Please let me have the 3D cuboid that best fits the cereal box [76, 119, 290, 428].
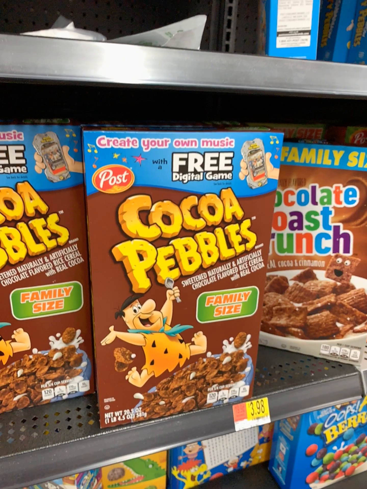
[{"bbox_3d":[-0.007,0.036,0.429,0.200,0.329,0.060,-4,21,-17],"label":"cereal box"}]
